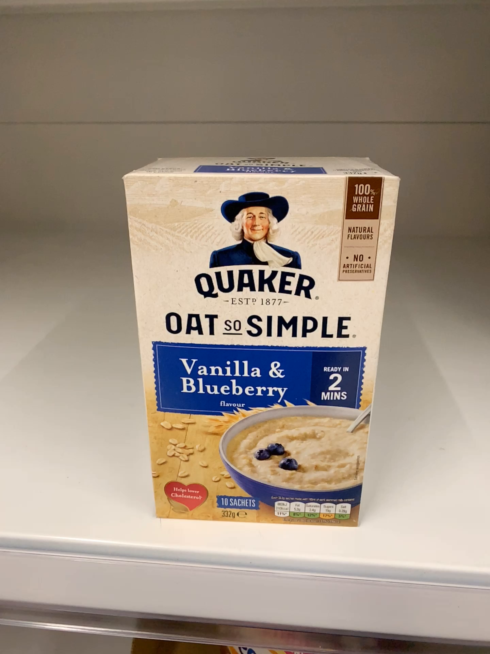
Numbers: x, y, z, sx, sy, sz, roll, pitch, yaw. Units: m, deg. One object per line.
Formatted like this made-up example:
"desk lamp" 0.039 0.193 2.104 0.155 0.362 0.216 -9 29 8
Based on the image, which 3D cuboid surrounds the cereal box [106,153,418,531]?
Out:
"cereal box" 0.009 0.009 0.306 0.140 0.208 0.081 1 24 3
